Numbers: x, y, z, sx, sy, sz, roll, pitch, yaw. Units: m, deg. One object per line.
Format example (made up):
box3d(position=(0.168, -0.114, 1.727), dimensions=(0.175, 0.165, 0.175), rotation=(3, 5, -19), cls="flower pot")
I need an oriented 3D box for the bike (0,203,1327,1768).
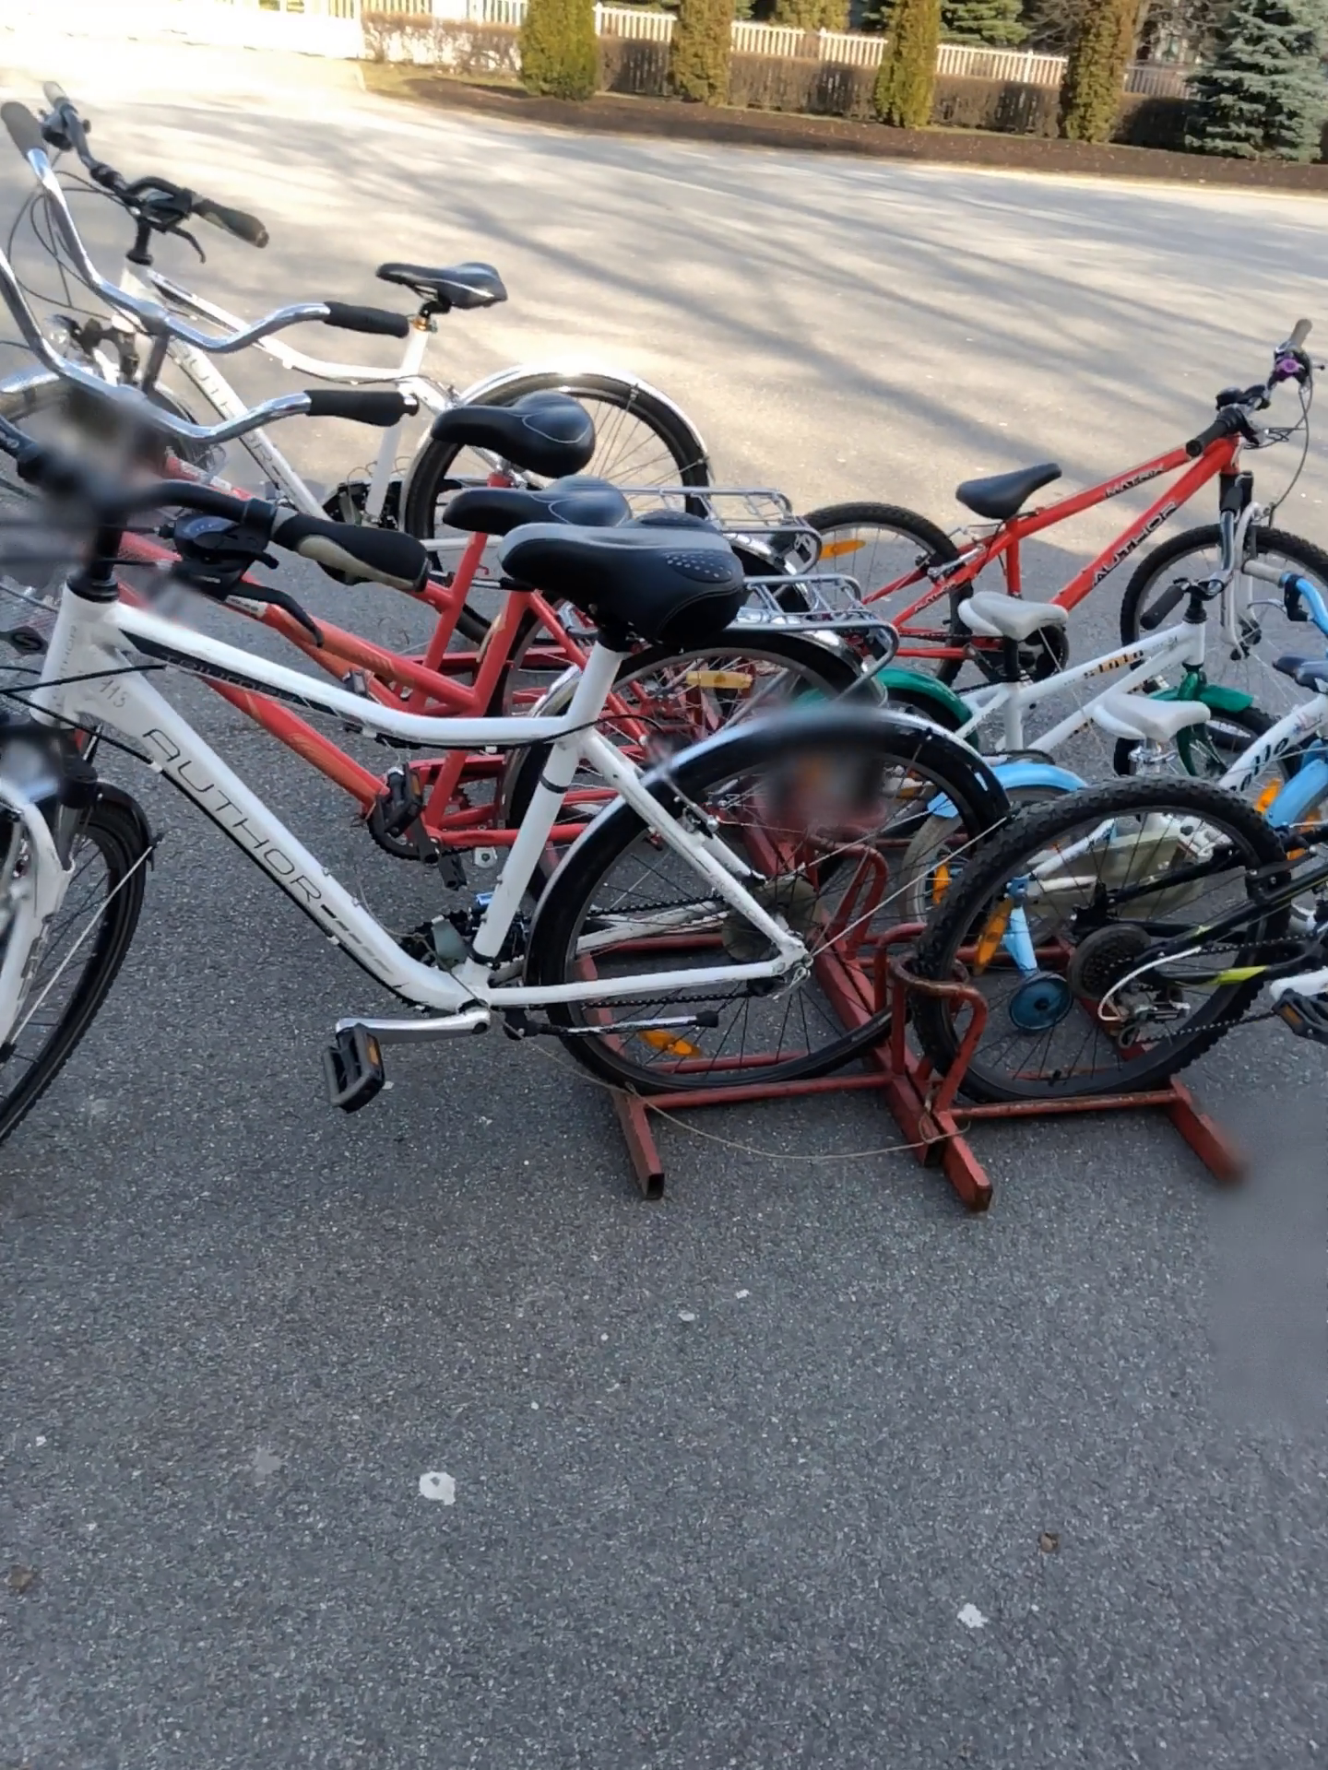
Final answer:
box3d(position=(-0.169, -0.028, 1.574), dimensions=(1.602, 1.164, 0.621), rotation=(-11, 34, -28), cls="bike")
